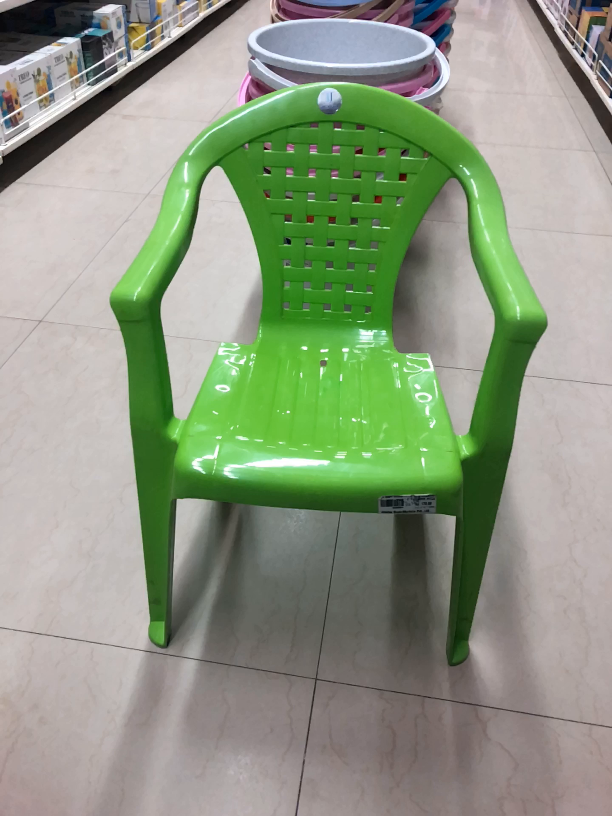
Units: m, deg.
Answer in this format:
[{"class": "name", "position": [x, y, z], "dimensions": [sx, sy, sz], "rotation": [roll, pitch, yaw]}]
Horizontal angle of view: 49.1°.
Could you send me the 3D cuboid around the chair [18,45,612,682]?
[{"class": "chair", "position": [0.020, -0.026, 0.659], "dimensions": [0.360, 0.516, 0.312], "rotation": [4, 40, 2]}]
